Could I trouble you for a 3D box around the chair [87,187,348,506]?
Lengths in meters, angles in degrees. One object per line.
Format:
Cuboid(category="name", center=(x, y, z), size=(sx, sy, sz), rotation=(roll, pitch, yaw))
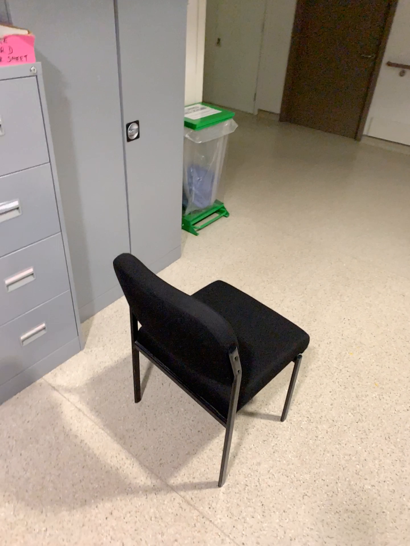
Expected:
Cuboid(category="chair", center=(0.023, 0.246, 1.623), size=(0.633, 0.852, 0.593), rotation=(31, 44, 33))
